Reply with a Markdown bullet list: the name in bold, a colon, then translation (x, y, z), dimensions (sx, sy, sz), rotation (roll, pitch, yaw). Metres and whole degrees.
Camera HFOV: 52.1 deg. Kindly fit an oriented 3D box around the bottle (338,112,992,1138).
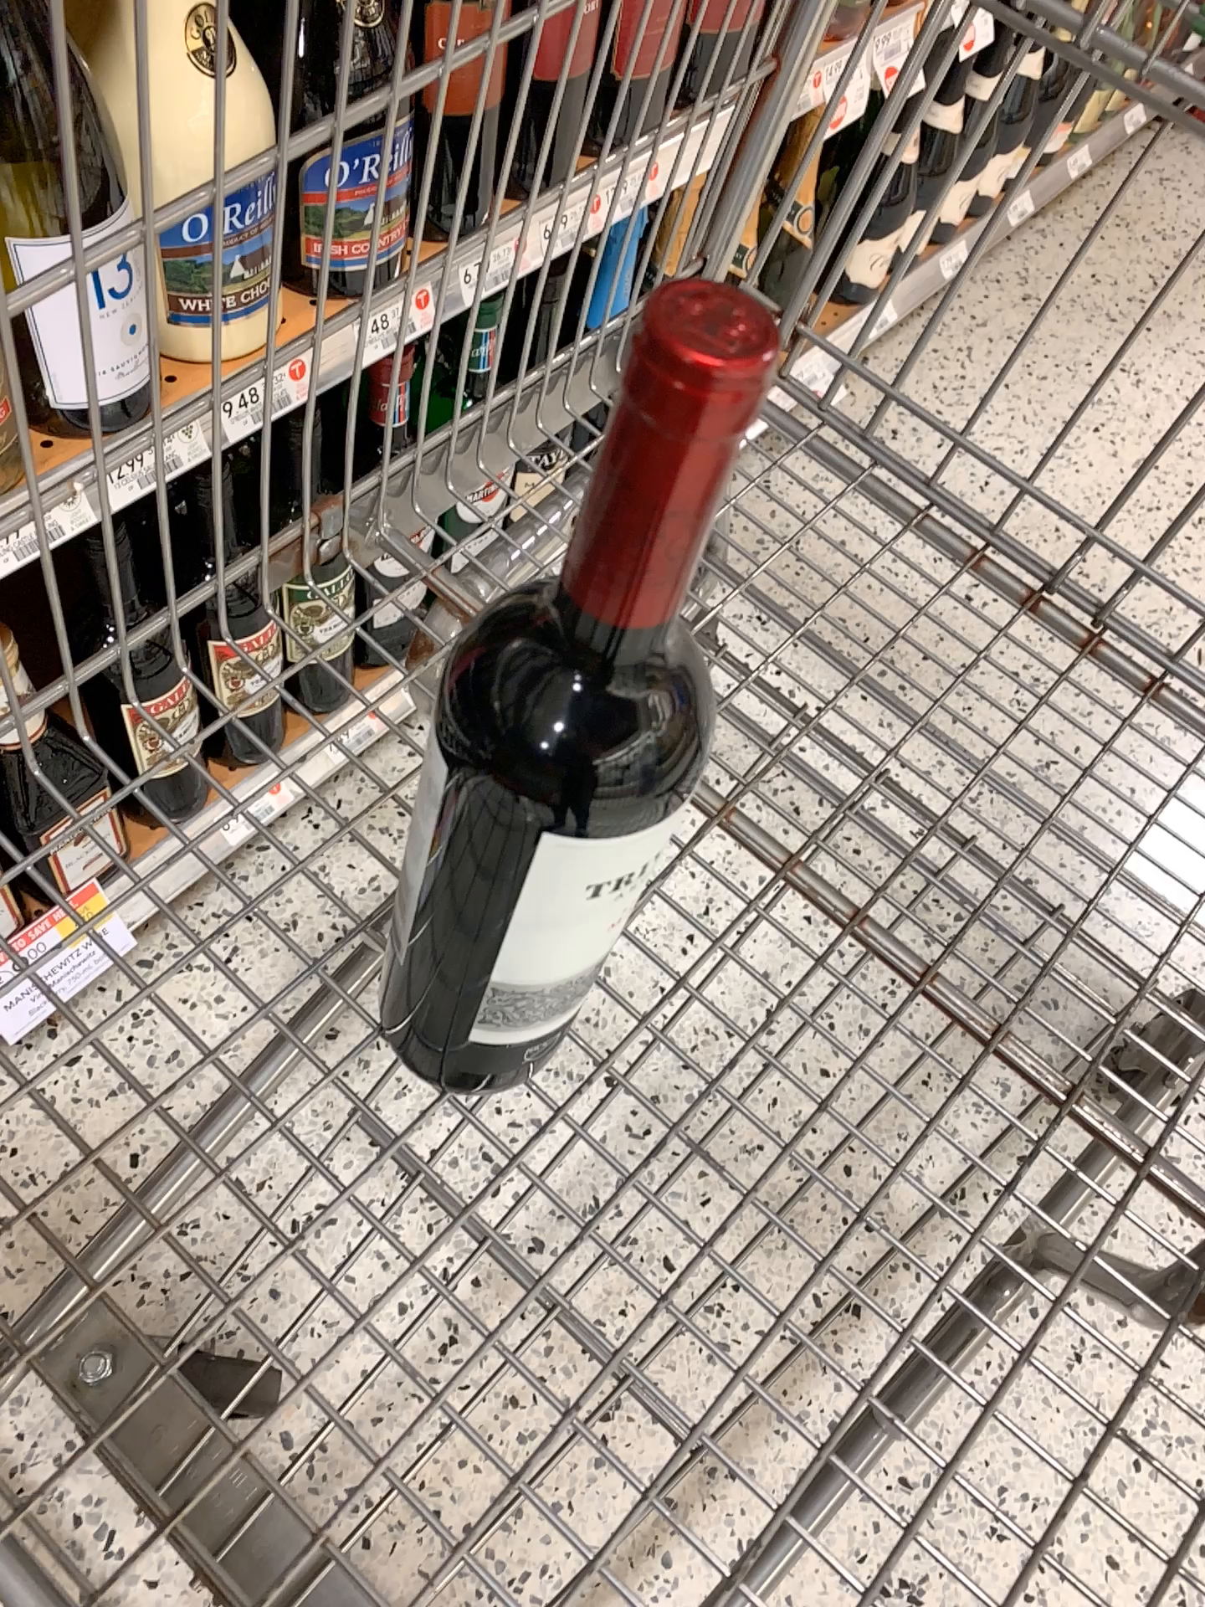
- **bottle**: translation (-0.008, -0.015, 0.351), dimensions (0.080, 0.298, 0.091), rotation (31, 54, 8)
